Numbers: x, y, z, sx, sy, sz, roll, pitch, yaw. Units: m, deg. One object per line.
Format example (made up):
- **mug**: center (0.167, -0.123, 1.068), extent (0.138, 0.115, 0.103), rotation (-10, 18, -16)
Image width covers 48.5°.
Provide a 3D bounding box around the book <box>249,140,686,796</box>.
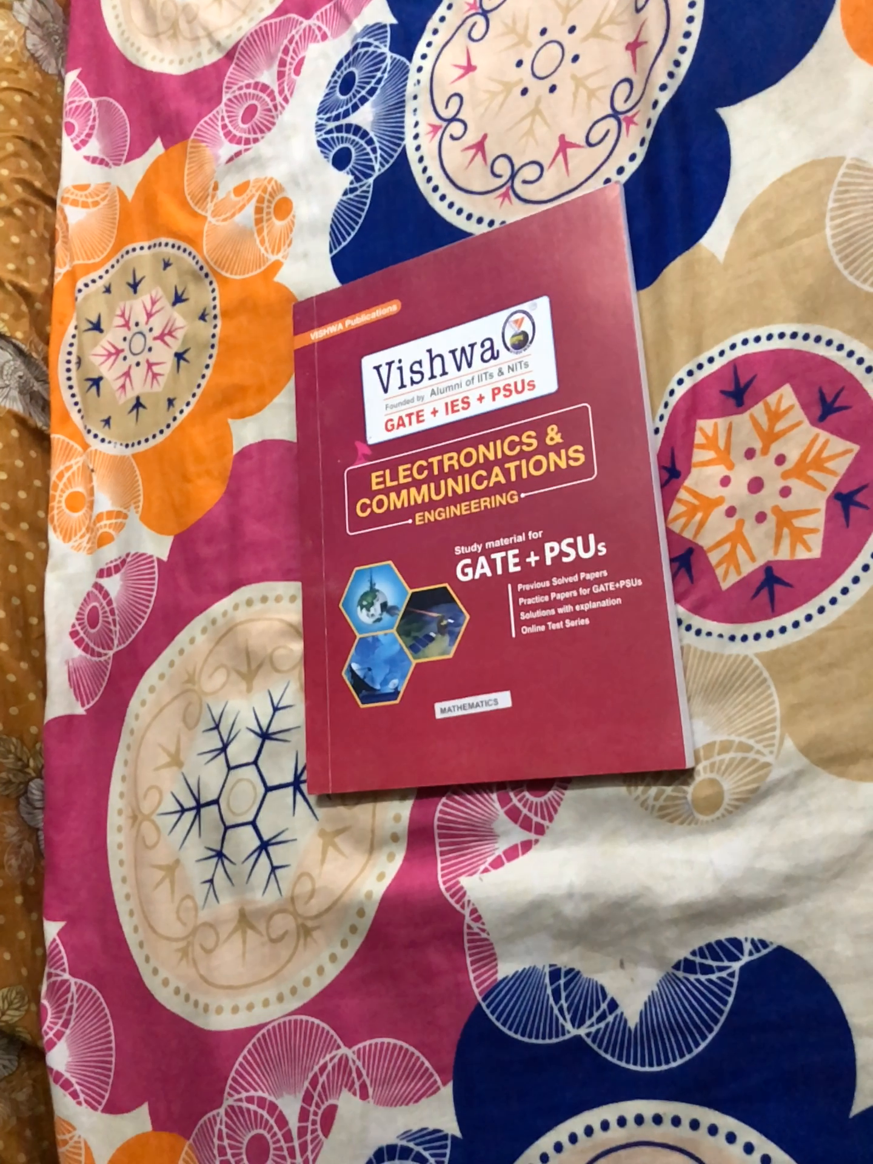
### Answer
- **book**: center (0.000, -0.049, 0.498), extent (0.217, 0.030, 0.300), rotation (-10, 75, 27)
